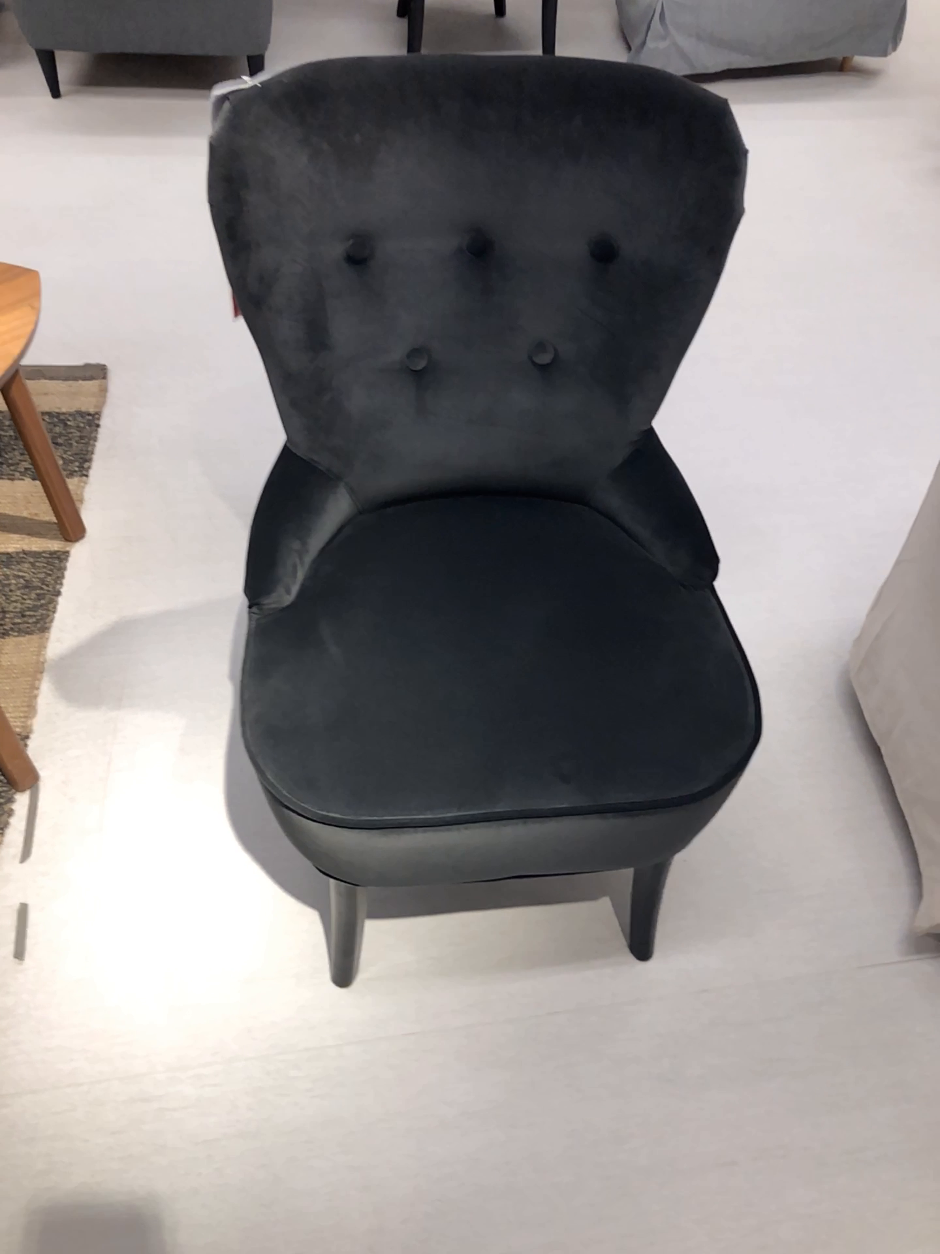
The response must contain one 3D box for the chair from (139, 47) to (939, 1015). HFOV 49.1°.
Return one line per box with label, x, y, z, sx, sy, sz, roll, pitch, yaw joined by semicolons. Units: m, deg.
chair;0.016;-0.102;1.222;0.600;0.775;0.795;-4;52;-7
